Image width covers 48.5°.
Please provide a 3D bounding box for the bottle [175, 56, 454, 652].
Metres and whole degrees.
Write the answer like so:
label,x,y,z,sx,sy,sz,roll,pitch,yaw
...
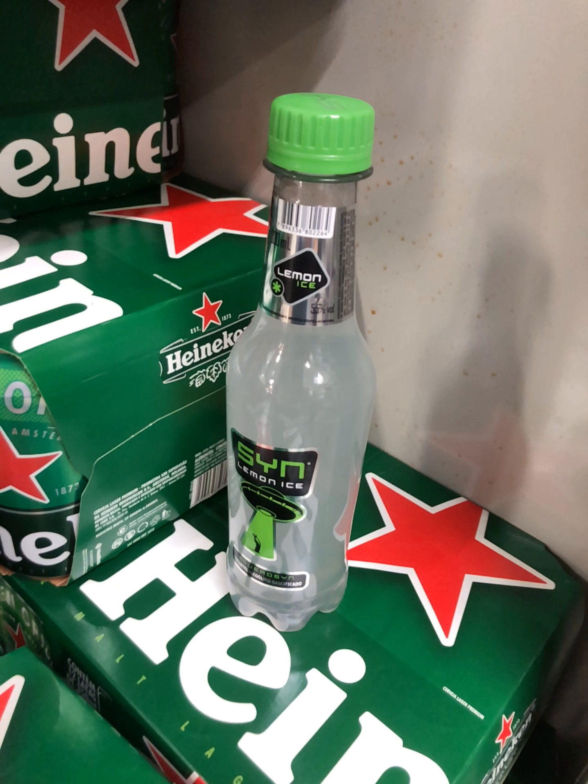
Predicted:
label,x,y,z,sx,sy,sz,roll,pitch,yaw
bottle,0.001,-0.002,0.243,0.060,0.208,0.060,3,35,-2
